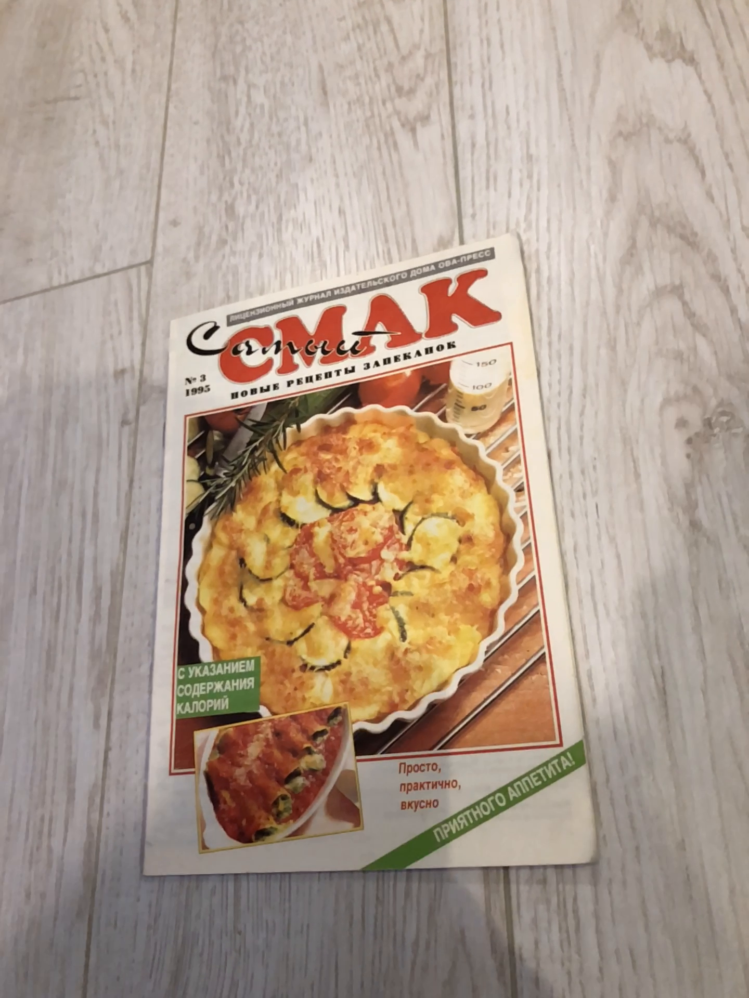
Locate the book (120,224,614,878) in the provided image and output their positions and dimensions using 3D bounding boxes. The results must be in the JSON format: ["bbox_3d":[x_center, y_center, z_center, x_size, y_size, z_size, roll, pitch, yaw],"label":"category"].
[{"bbox_3d":[-0.012,0.015,0.314,0.165,0.020,0.230,-10,67,18],"label":"book"}]
